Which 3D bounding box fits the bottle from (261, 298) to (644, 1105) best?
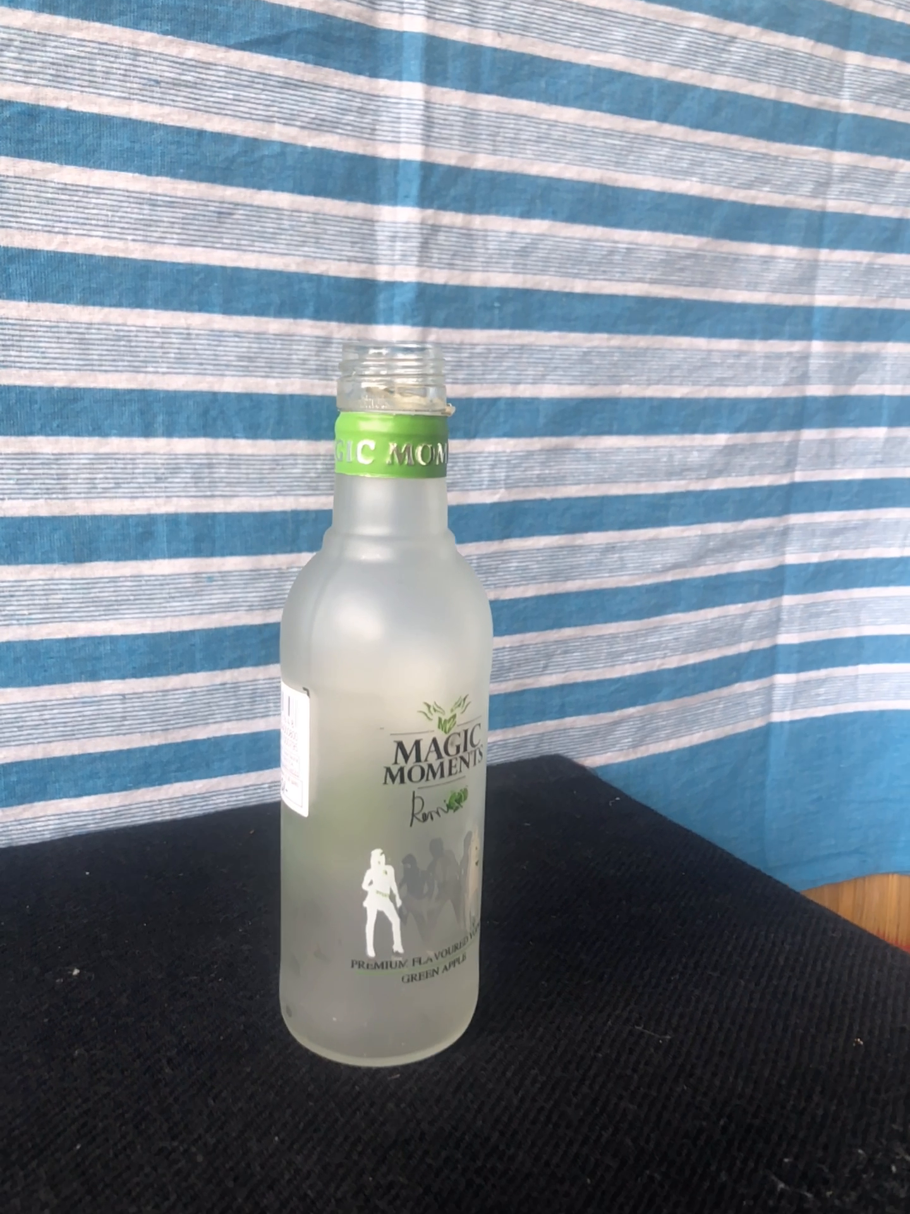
[{"bbox_3d":[-0.005,0.016,0.212,0.050,0.150,0.050,4,13,-1],"label":"bottle"}]
